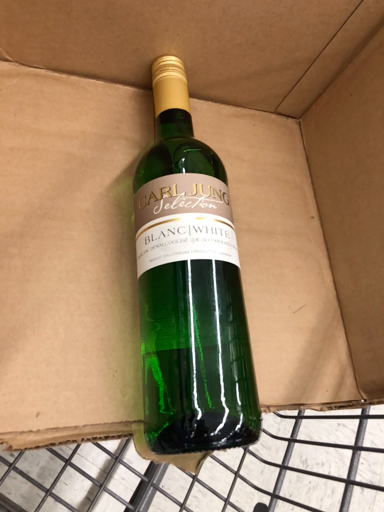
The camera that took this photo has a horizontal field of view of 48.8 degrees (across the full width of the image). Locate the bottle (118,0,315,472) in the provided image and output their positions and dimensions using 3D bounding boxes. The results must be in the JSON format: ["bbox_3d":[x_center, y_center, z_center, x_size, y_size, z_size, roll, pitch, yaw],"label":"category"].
[{"bbox_3d":[-0.004,-0.042,0.300,0.080,0.100,0.331,-1,69,-13],"label":"bottle"}]
